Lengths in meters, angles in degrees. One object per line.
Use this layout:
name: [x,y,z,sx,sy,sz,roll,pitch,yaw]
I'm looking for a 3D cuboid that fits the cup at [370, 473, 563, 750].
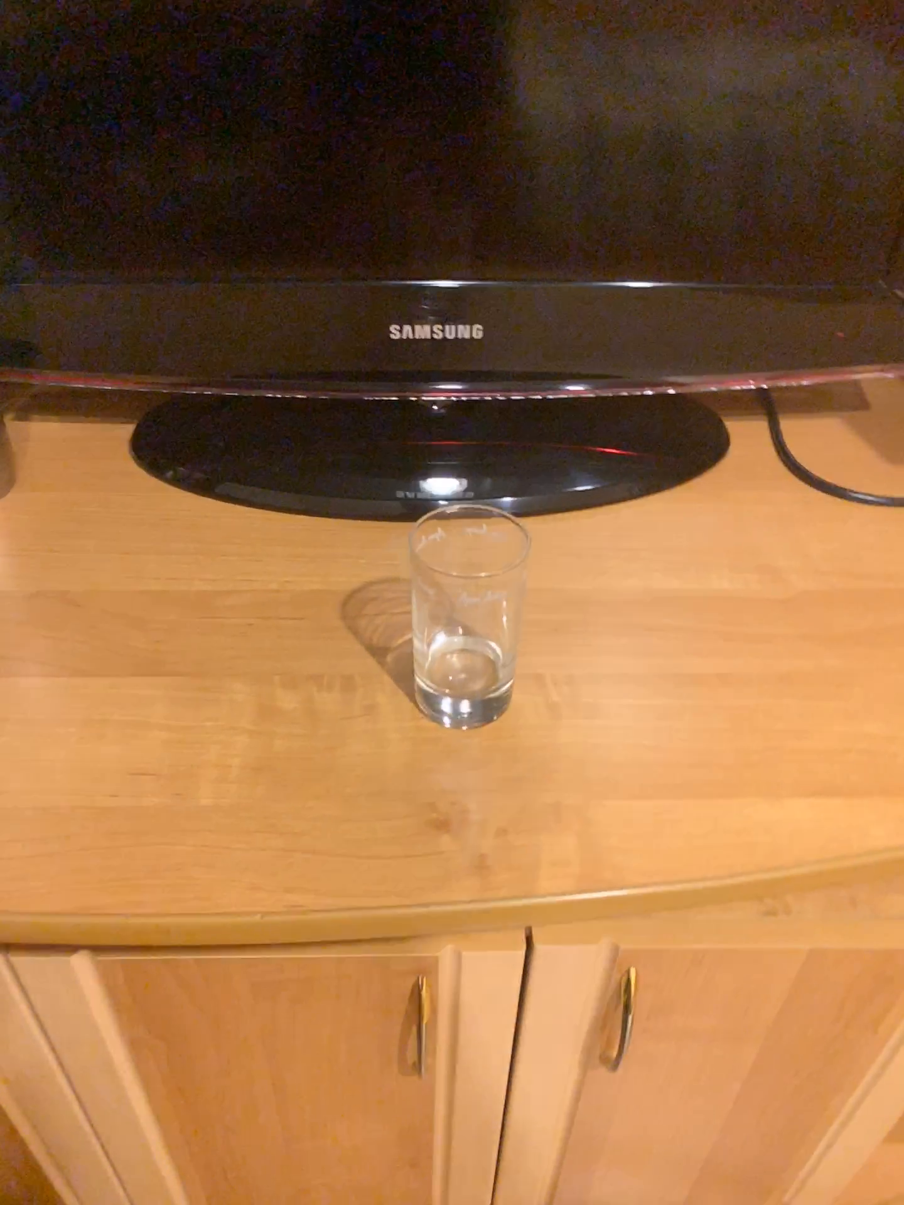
cup: [0.005,0.004,0.435,0.060,0.099,0.060,1,39,0]
